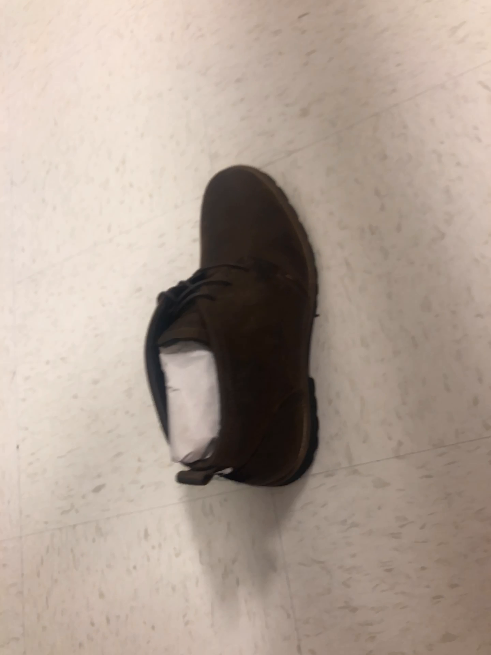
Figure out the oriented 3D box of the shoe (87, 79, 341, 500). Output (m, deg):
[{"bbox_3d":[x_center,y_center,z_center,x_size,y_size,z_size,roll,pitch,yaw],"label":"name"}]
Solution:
[{"bbox_3d":[-0.025,-0.015,0.451,0.115,0.167,0.283,-15,70,24],"label":"shoe"}]
